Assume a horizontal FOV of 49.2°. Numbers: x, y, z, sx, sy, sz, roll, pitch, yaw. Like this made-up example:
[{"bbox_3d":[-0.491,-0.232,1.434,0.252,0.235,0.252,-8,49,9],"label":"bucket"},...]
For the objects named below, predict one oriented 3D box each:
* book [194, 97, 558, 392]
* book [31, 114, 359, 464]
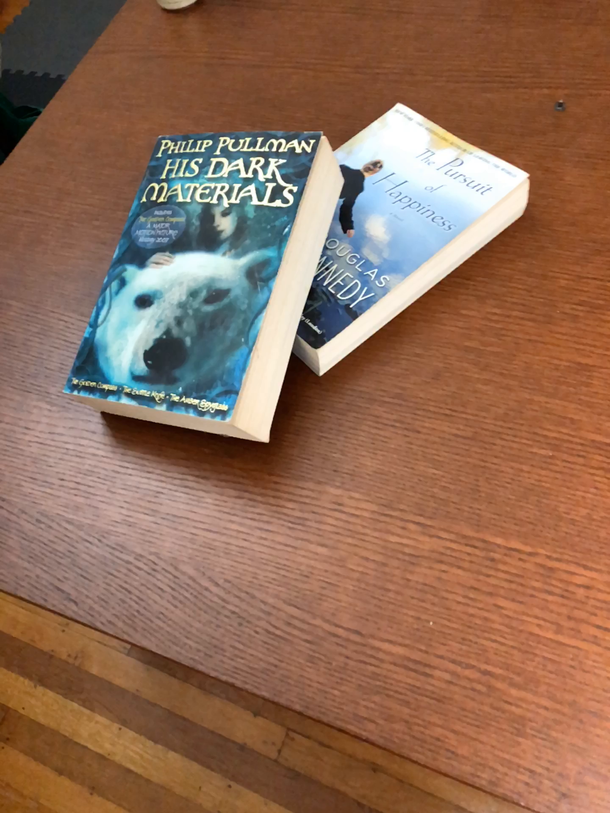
[{"bbox_3d":[0.053,-0.144,0.547,0.240,0.040,0.171,-37,54,-8],"label":"book"},{"bbox_3d":[-0.076,-0.095,0.494,0.170,0.060,0.240,9,75,22],"label":"book"}]
